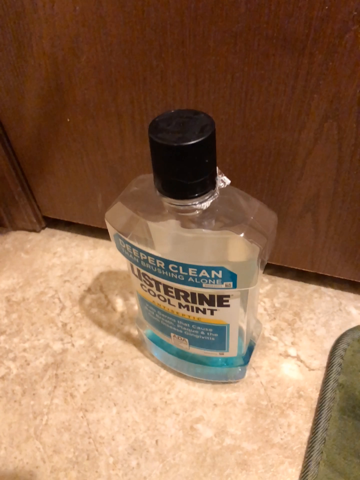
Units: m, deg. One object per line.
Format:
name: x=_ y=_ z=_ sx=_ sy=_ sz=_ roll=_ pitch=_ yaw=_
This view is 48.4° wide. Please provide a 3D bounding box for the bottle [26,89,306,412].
bottle: x=0.002 y=0.020 z=0.303 sx=0.130 sy=0.220 sz=0.090 roll=17 pitch=51 yaw=20
